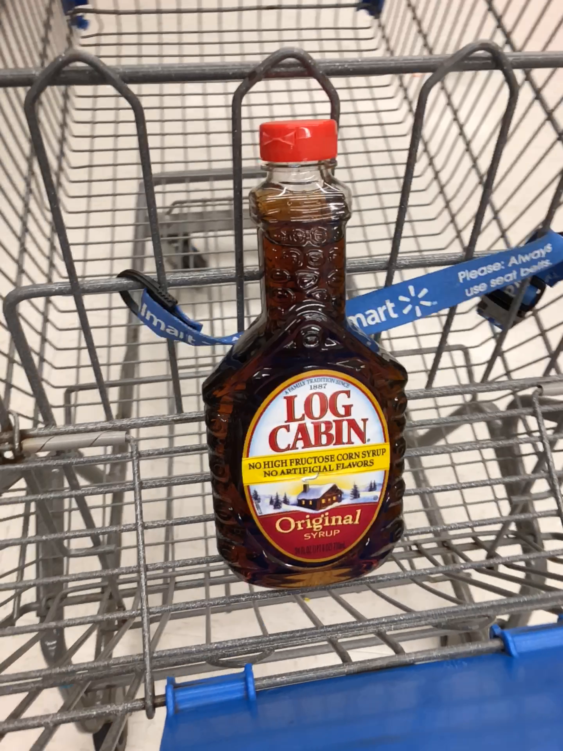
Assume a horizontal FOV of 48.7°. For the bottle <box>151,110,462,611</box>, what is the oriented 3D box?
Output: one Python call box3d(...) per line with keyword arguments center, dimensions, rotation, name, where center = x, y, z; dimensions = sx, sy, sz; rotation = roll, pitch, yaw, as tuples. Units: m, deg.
box3d(center=(0.012, 0.001, 0.317), dimensions=(0.120, 0.240, 0.060), rotation=(-7, 27, -7), name="bottle")
